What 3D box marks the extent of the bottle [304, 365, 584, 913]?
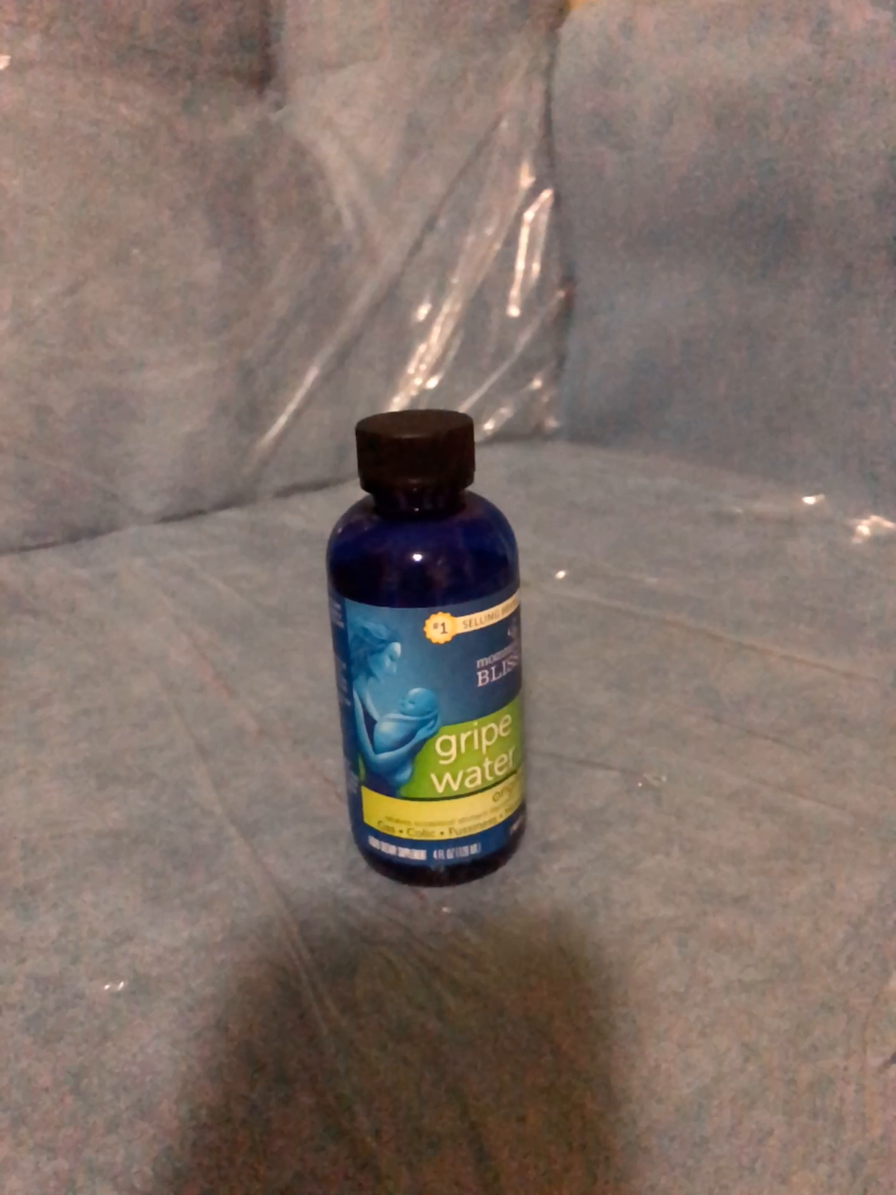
[{"bbox_3d":[-0.002,0.009,0.249,0.050,0.120,0.050,-1,25,0],"label":"bottle"}]
